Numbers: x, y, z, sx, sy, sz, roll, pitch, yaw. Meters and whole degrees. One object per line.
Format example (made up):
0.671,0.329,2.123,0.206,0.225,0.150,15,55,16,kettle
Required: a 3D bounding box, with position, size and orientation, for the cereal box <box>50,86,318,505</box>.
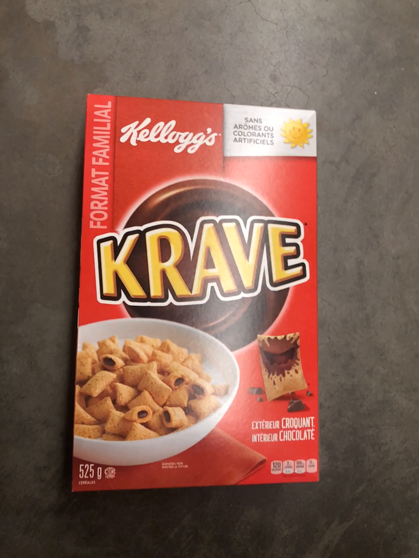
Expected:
-0.018,0.012,0.389,0.200,0.070,0.310,1,86,-8,cereal box
